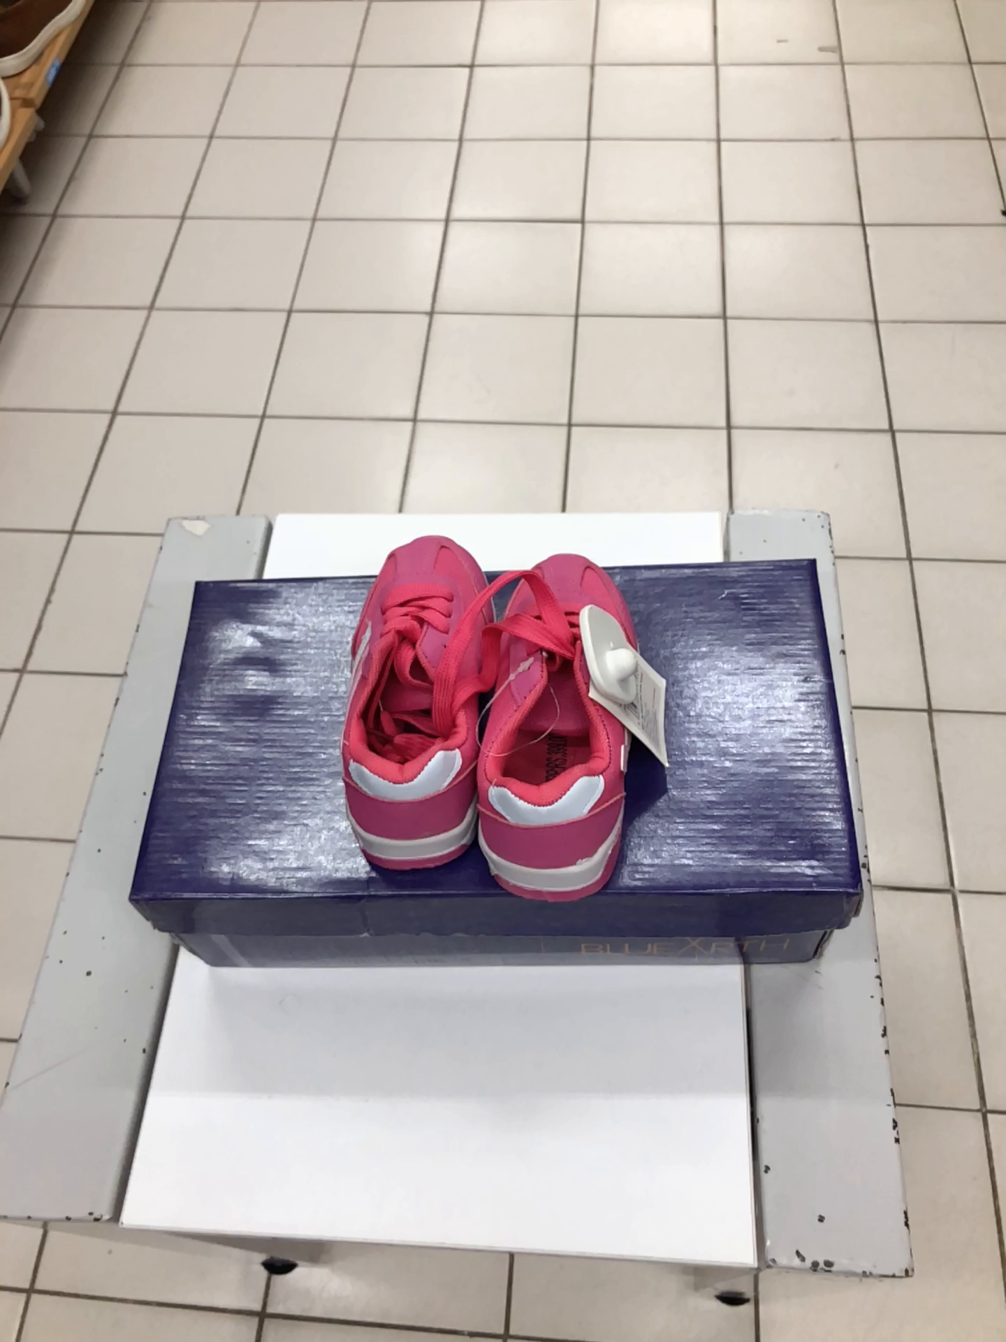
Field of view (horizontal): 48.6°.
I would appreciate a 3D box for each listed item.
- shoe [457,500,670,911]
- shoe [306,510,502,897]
[{"bbox_3d":[0.027,0.015,0.500,0.080,0.090,0.161,0,58,3],"label":"shoe"},{"bbox_3d":[-0.040,0.015,0.531,0.070,0.090,0.161,0,58,3],"label":"shoe"}]
